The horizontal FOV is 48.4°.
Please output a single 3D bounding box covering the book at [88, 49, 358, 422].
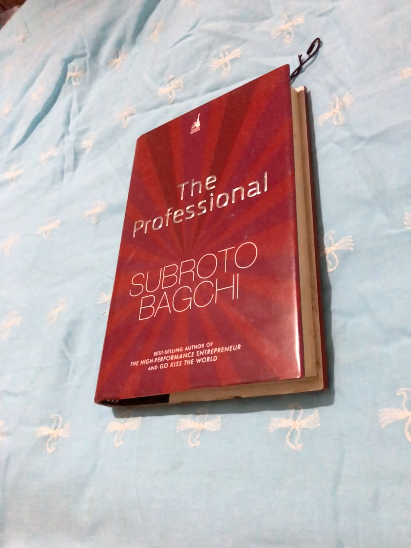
[{"bbox_3d":[0.007,-0.024,0.293,0.151,0.030,0.220,-13,59,31],"label":"book"}]
